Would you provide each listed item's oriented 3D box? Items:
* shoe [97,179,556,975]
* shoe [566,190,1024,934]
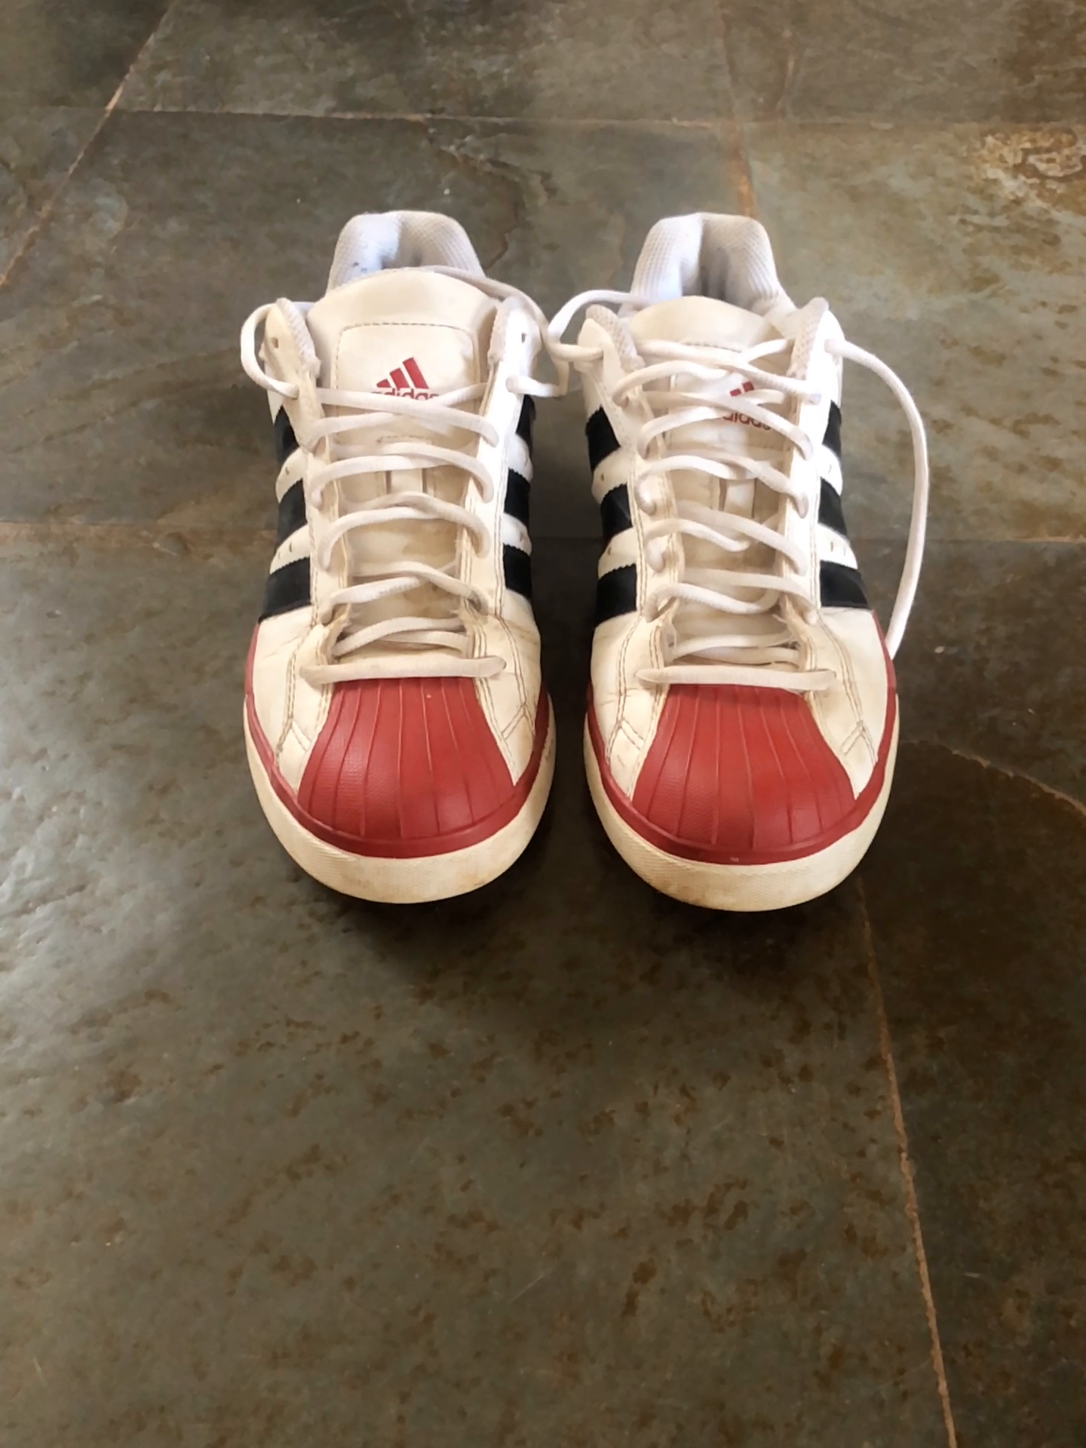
[{"bbox_3d":[-0.058,-0.066,0.427,0.110,0.129,0.272,-2,49,-2],"label":"shoe"},{"bbox_3d":[0.065,-0.072,0.427,0.110,0.109,0.272,0,49,0],"label":"shoe"}]
